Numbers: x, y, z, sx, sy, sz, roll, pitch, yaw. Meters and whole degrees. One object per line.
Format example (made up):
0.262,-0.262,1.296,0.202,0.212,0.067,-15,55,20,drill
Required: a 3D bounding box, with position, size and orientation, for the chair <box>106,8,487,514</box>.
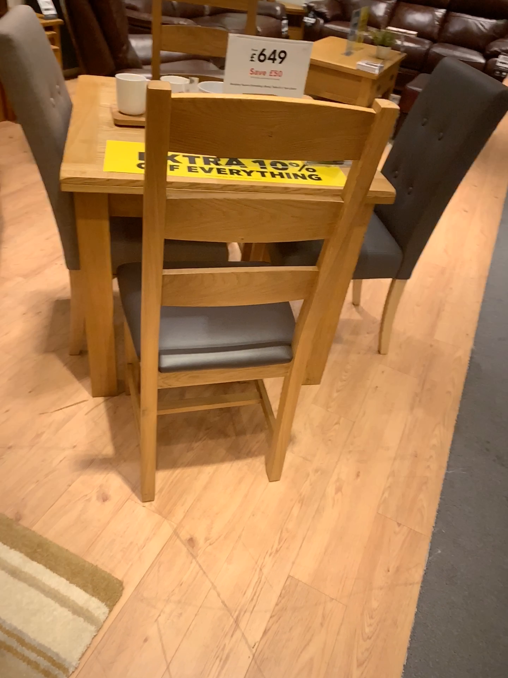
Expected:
-0.042,-0.154,1.250,0.555,0.958,0.582,-4,40,-19,chair
